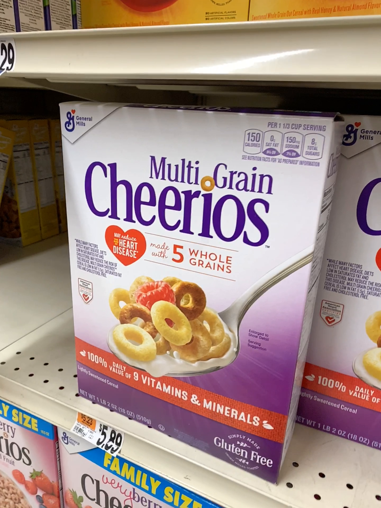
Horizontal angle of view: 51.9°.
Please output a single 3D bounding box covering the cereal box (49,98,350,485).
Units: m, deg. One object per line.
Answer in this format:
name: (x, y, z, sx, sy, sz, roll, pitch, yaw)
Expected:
cereal box: (-0.008, 0.024, 0.383, 0.250, 0.319, 0.070, 12, 21, 25)
